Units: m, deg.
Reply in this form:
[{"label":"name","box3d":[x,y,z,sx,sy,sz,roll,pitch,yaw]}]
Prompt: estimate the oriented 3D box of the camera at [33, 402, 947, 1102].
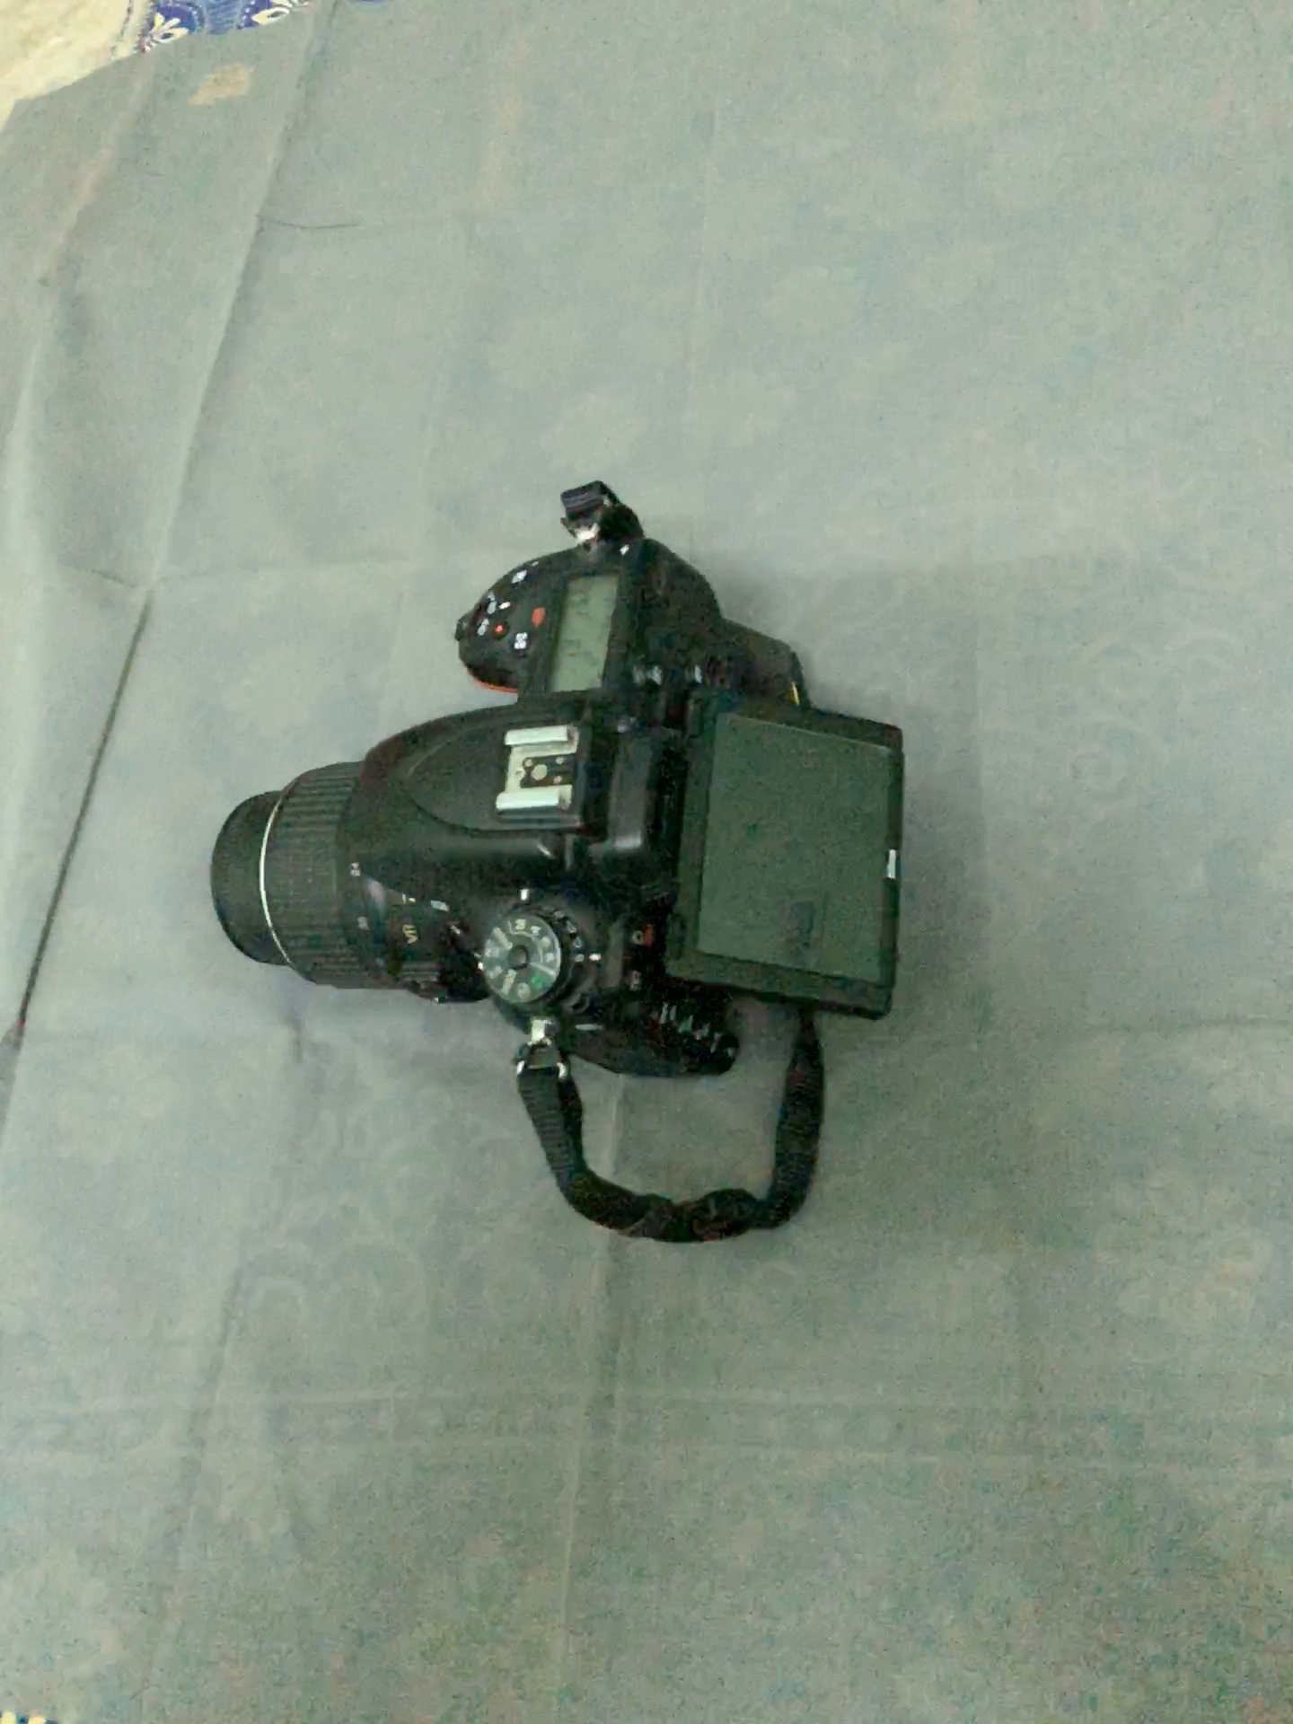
[{"label":"camera","box3d":[-0.033,-0.024,0.400,0.230,0.100,0.165,-4,62,14]}]
